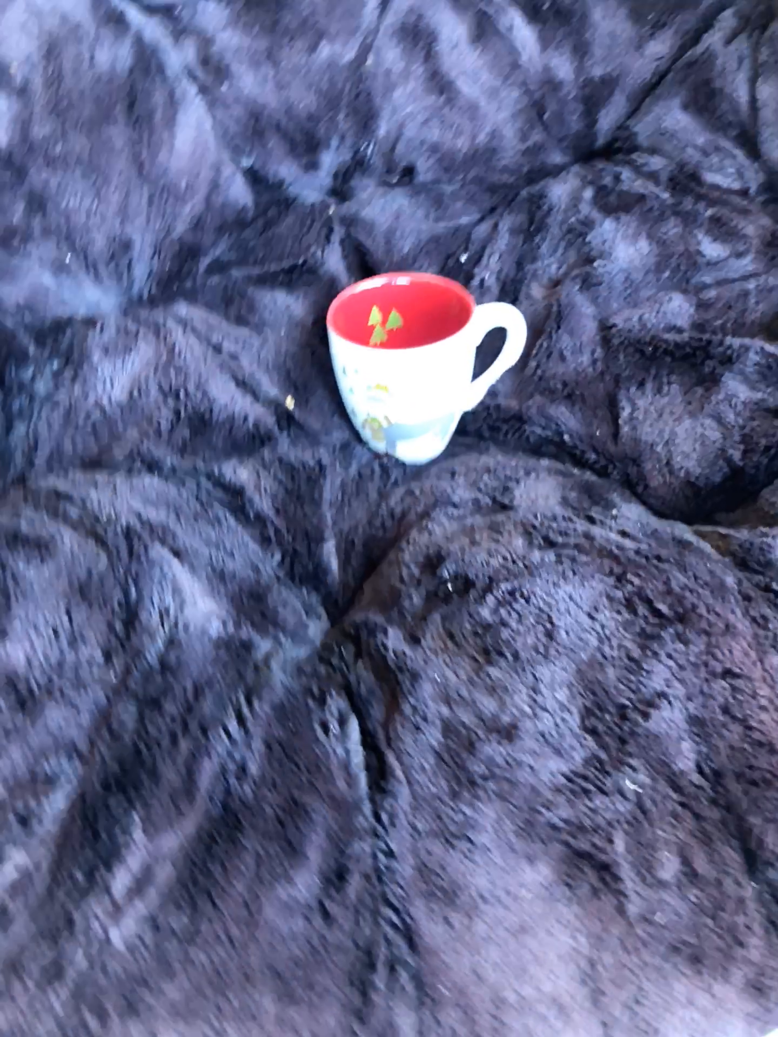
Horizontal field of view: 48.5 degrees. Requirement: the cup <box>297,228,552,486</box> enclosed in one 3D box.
[{"bbox_3d":[0.025,-0.116,0.615,0.140,0.110,0.100,-20,50,-13],"label":"cup"}]
